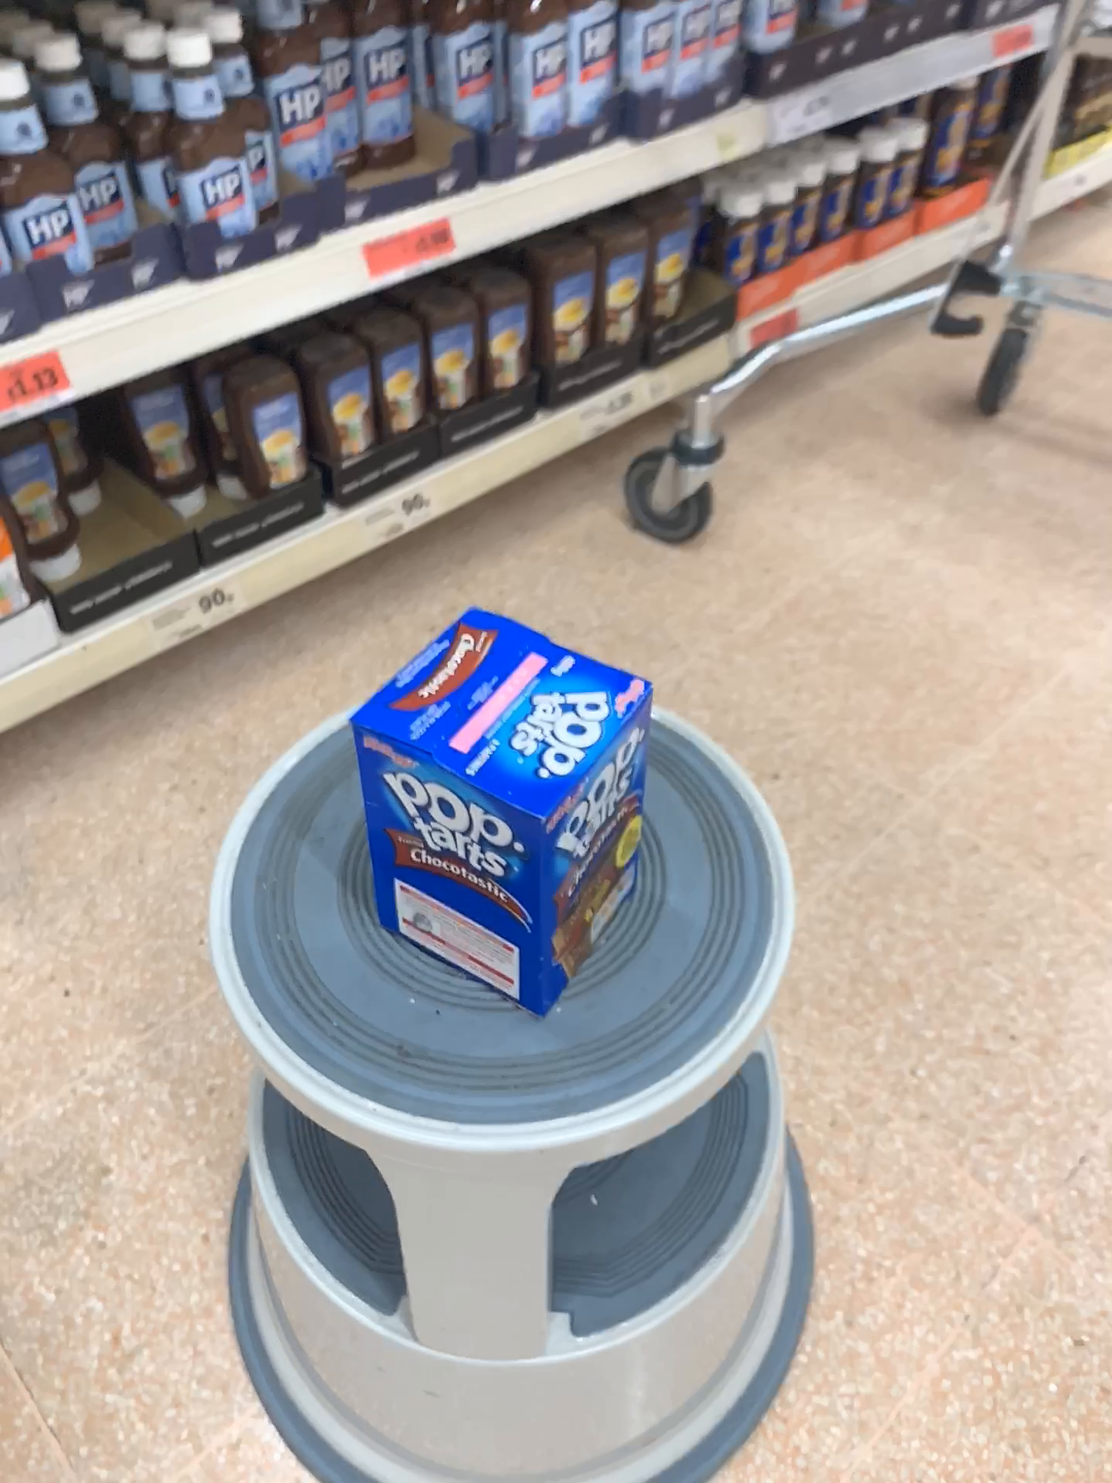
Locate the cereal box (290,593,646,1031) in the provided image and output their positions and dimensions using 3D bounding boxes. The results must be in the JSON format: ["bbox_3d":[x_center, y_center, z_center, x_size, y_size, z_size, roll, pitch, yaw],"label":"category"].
[{"bbox_3d":[-0.038,0.033,0.530,0.110,0.139,0.101,26,50,20],"label":"cereal box"}]
